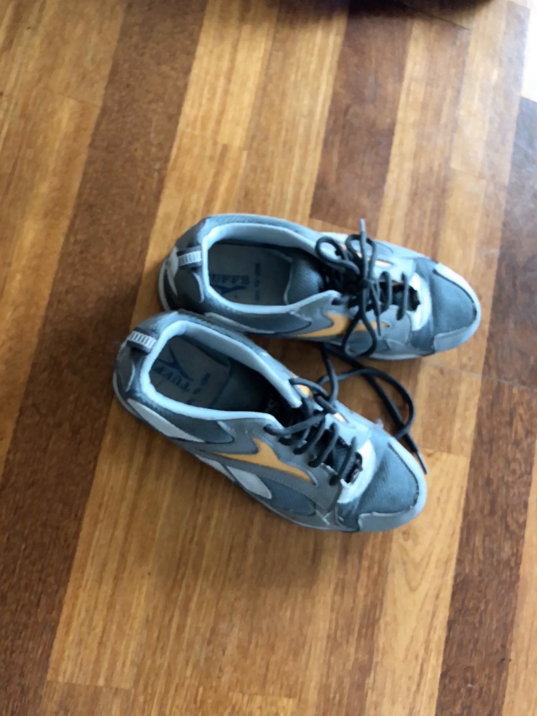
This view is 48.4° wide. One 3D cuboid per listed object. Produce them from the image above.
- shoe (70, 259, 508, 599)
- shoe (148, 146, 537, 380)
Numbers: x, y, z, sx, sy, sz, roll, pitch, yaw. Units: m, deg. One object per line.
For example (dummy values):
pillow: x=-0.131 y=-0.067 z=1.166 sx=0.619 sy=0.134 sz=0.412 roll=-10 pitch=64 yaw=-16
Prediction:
shoe: x=0.016 y=0.056 z=0.438 sx=0.283 sy=0.088 sz=0.110 roll=28 pitch=75 yaw=-9
shoe: x=0.057 y=-0.062 z=0.473 sx=0.283 sy=0.099 sz=0.112 roll=8 pitch=78 yaw=-13
